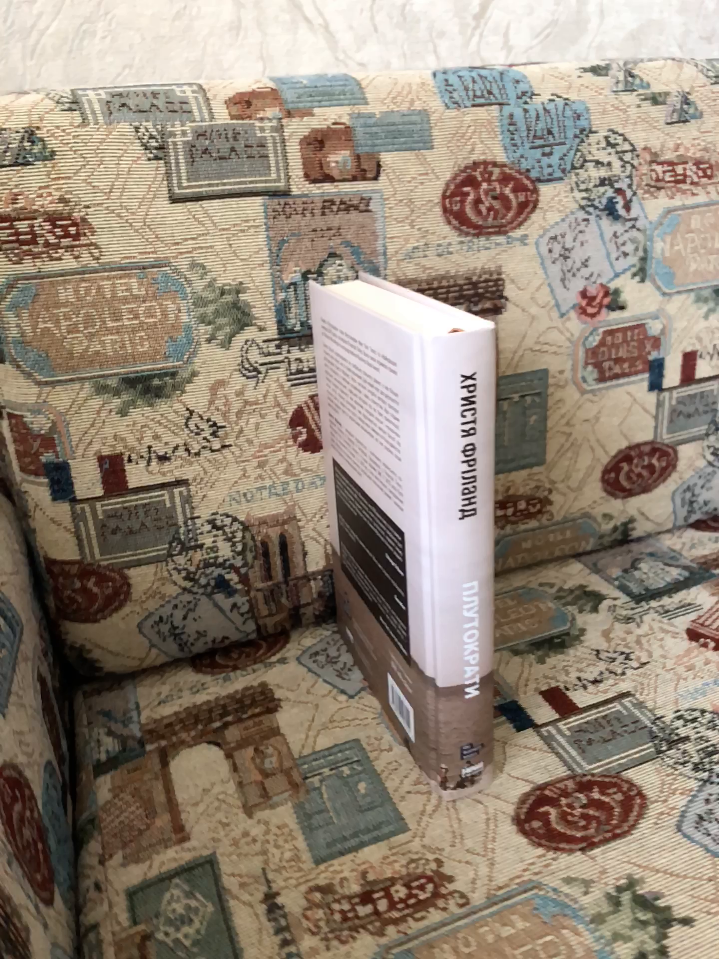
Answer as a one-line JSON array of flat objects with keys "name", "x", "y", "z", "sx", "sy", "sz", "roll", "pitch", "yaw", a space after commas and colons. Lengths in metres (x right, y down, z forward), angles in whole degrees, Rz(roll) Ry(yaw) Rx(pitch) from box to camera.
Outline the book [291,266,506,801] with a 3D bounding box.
[{"name": "book", "x": 0.016, "y": 0.016, "z": 0.394, "sx": 0.036, "sy": 0.215, "sz": 0.158, "roll": -11, "pitch": 24, "yaw": -18}]
